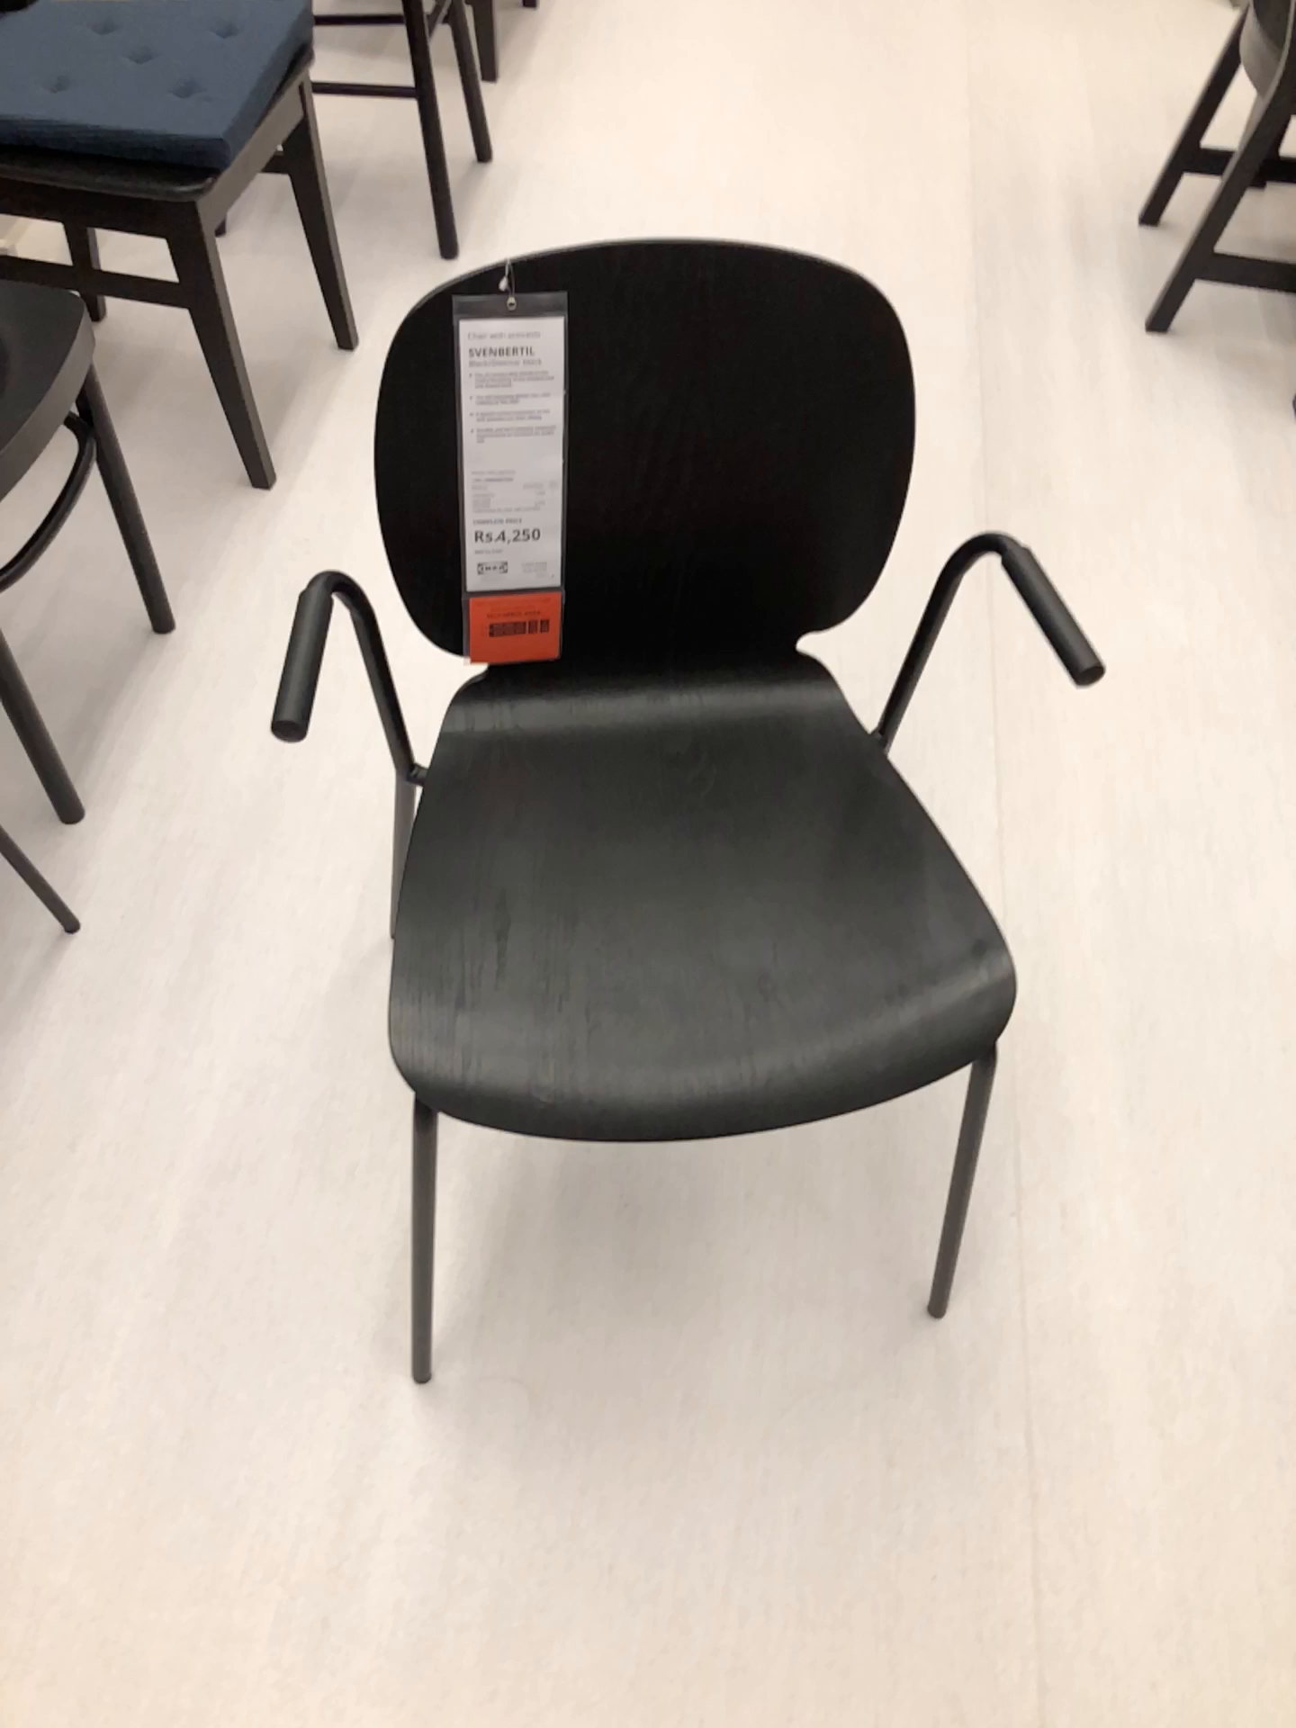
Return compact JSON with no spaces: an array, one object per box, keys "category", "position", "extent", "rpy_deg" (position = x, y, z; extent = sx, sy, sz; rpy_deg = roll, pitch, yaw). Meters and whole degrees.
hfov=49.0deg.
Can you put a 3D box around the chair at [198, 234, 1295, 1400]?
[{"category":"chair","position":[0.018,-0.009,1.118],"extent":[0.530,0.686,0.583],"rpy_deg":[-3,52,-5]}]
